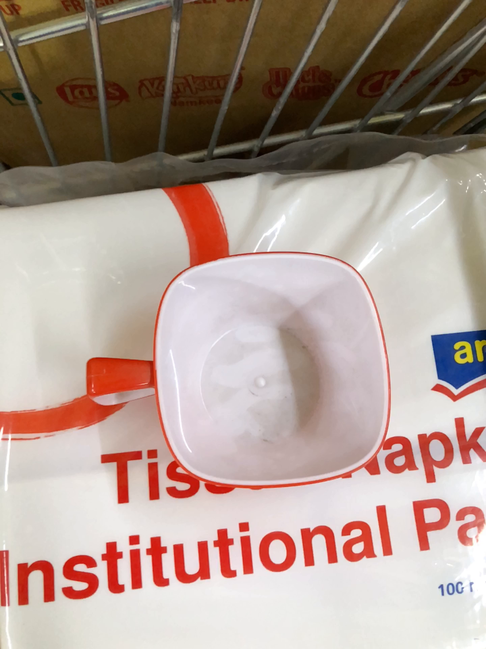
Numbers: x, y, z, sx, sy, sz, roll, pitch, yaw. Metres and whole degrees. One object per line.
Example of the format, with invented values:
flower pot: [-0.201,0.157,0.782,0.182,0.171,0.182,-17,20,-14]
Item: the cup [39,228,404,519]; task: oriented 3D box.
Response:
cup: [-0.010,0.016,0.217,0.120,0.060,0.090,-4,85,-10]
